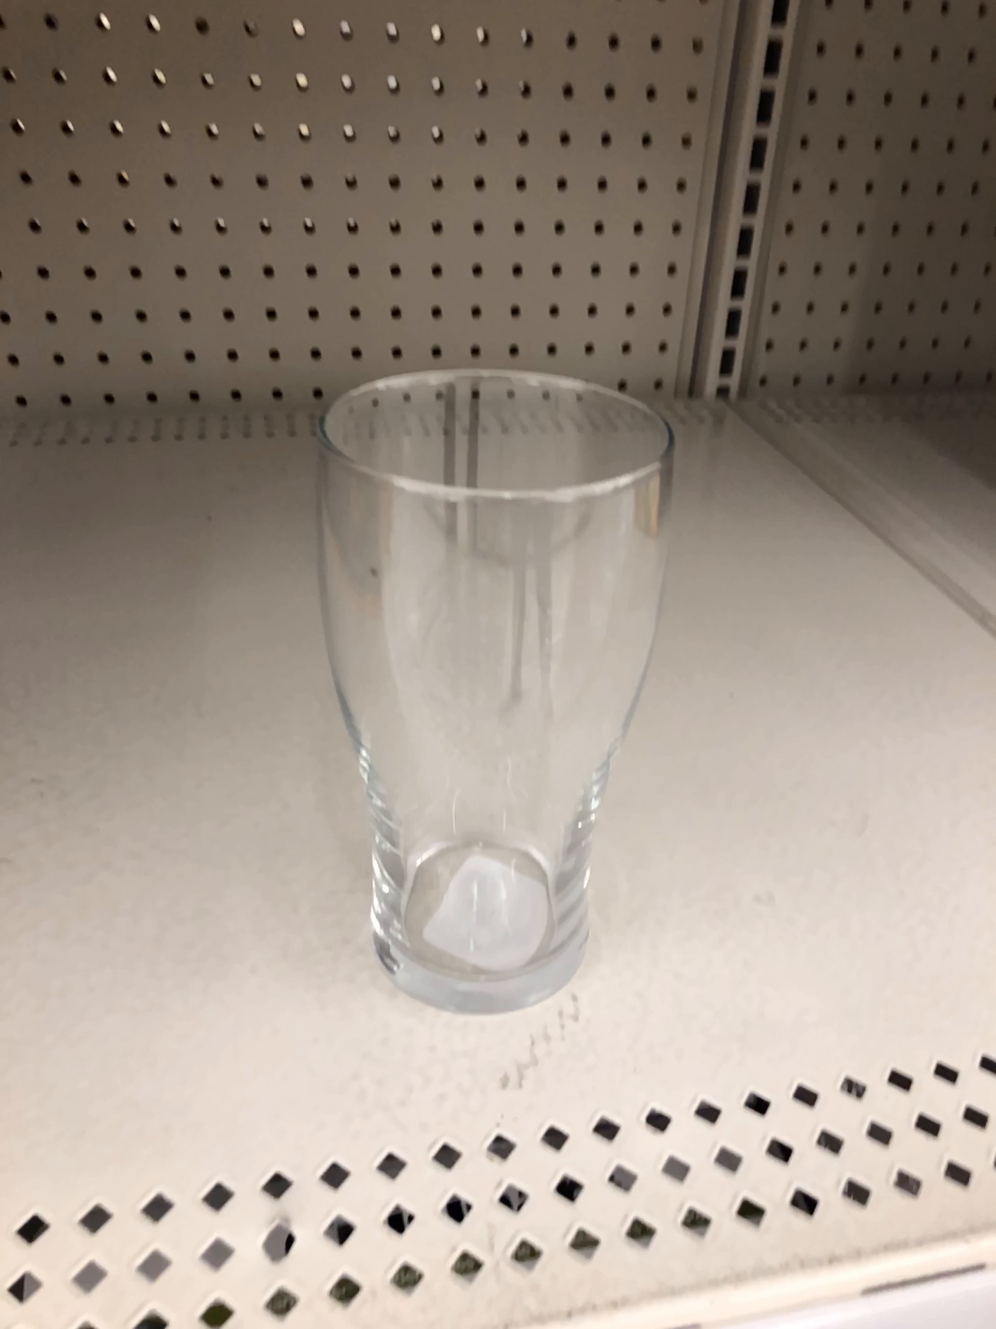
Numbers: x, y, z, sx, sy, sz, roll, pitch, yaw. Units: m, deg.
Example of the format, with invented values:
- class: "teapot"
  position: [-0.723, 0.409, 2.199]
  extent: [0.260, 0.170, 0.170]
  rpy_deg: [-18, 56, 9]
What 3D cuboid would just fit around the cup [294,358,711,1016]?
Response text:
- class: "cup"
  position: [-0.002, 0.006, 0.271]
  extent: [0.076, 0.138, 0.081]
  rpy_deg: [2, 32, -1]
